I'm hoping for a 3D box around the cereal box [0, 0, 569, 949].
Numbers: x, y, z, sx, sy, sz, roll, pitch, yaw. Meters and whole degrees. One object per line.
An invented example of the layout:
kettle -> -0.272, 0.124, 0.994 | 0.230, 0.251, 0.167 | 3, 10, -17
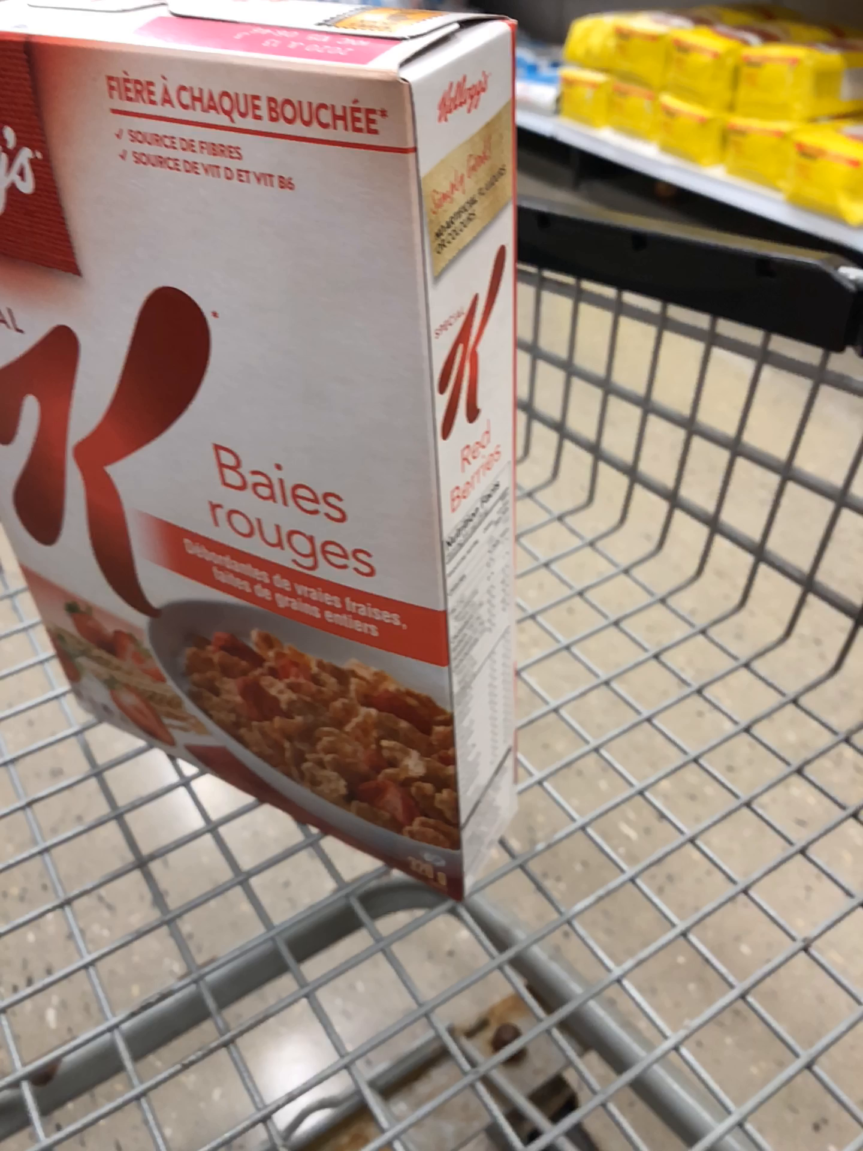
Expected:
cereal box -> -0.070, -0.026, 0.307 | 0.210, 0.269, 0.050 | 20, 43, 26
